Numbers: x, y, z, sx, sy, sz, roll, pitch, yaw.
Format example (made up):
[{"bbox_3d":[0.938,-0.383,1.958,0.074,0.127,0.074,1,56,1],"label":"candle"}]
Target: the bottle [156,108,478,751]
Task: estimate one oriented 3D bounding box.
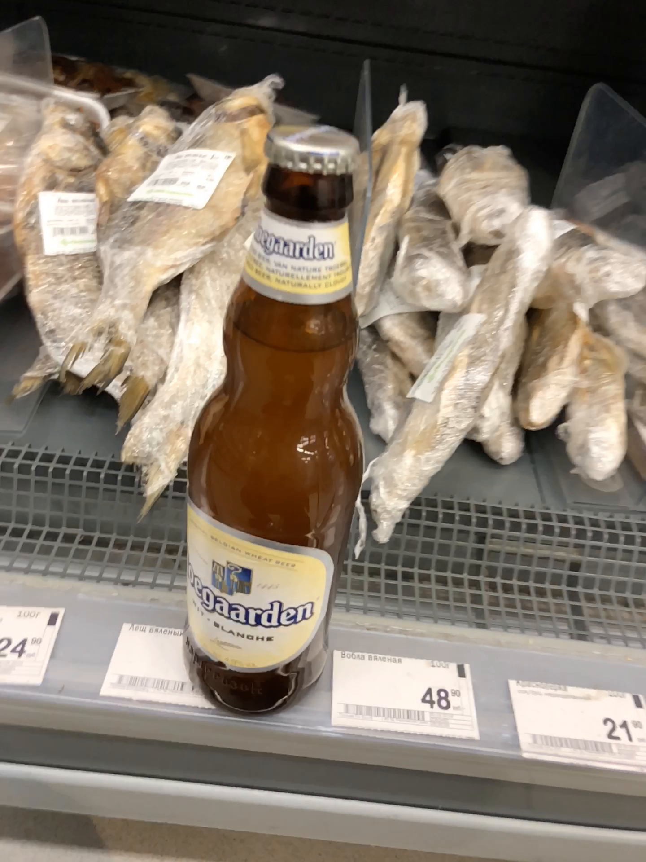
[{"bbox_3d":[-0.011,0.015,0.266,0.070,0.229,0.070,6,37,-4],"label":"bottle"}]
